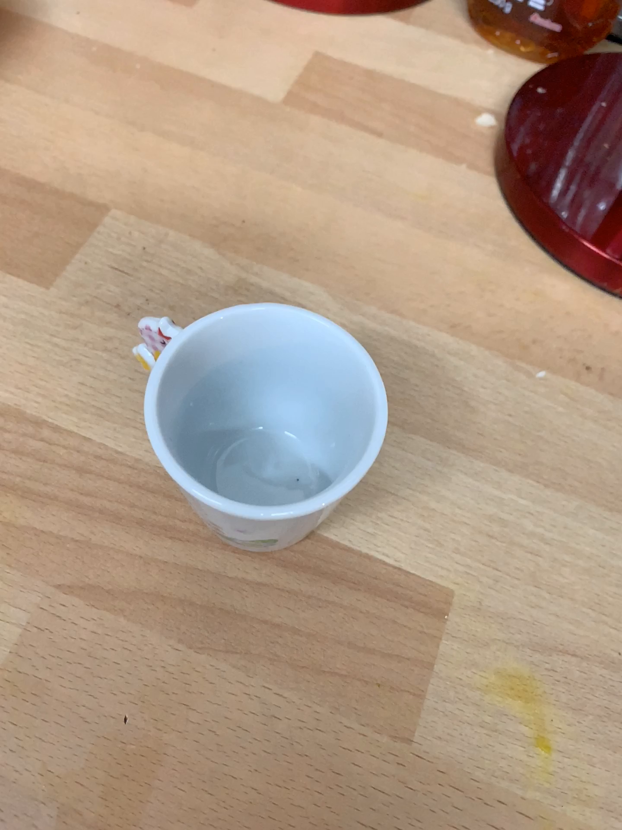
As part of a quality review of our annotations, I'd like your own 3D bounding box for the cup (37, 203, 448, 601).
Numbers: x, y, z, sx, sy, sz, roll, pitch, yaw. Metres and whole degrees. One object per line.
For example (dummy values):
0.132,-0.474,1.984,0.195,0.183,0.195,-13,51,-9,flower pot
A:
-0.018,-0.004,0.180,0.080,0.050,0.060,37,64,14,cup
